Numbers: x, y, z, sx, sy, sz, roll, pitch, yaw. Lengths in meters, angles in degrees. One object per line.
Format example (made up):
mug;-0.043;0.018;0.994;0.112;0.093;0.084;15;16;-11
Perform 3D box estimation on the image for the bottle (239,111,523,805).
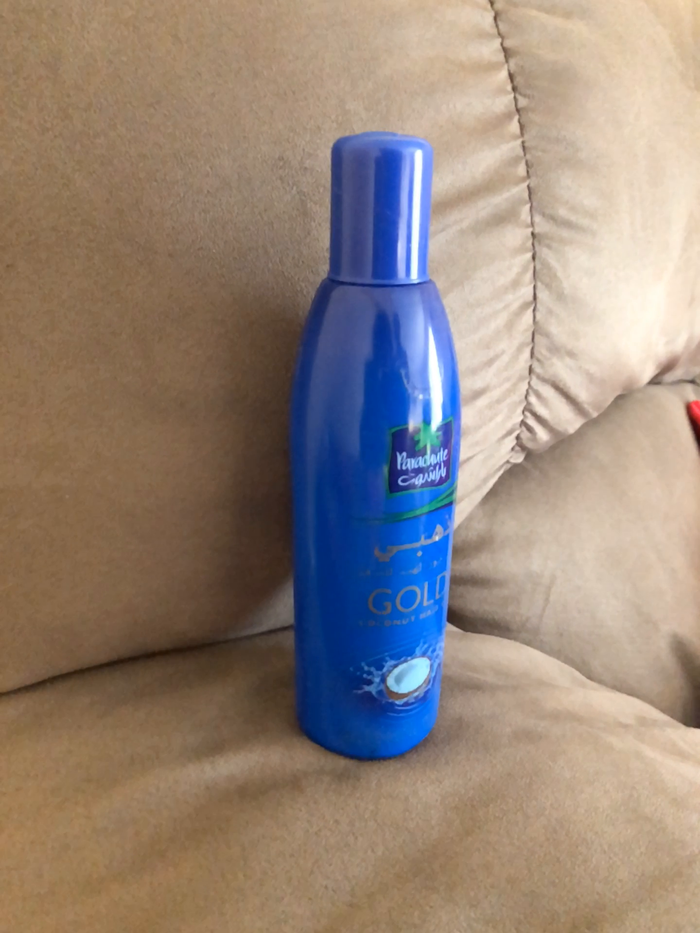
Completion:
bottle;0.005;-0.001;0.224;0.050;0.180;0.050;1;20;0
